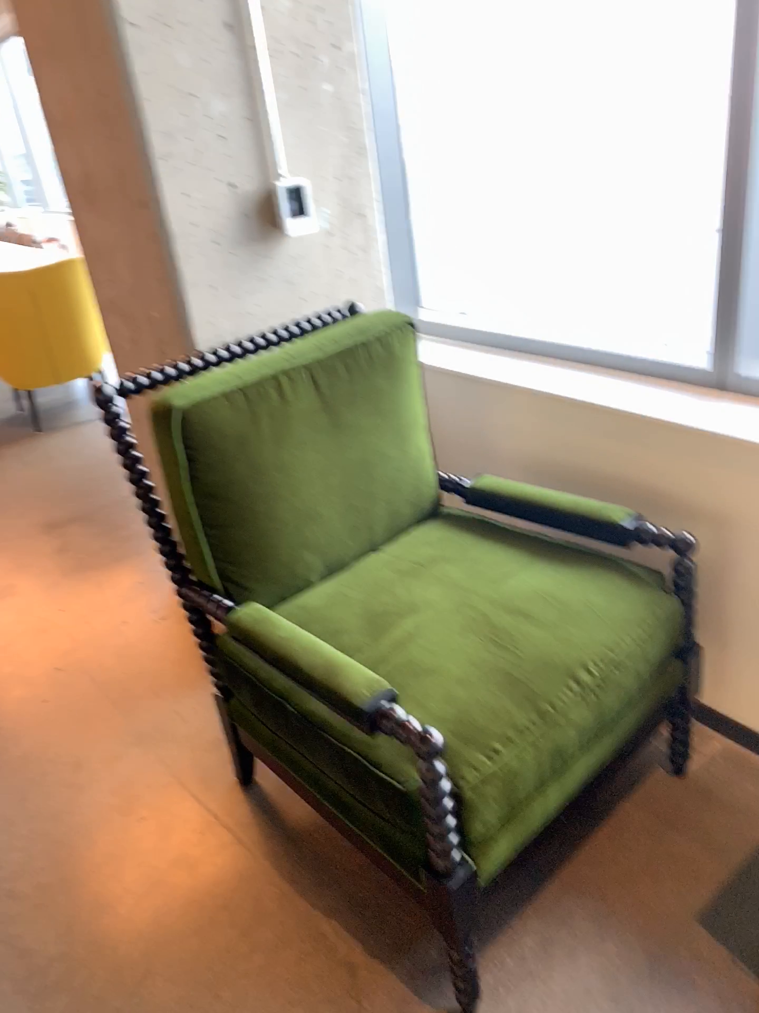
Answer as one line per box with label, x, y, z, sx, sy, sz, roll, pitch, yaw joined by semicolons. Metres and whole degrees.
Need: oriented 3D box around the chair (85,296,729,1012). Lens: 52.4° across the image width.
chair;0.064;0.171;1.602;0.732;0.974;0.923;-28;33;-34
